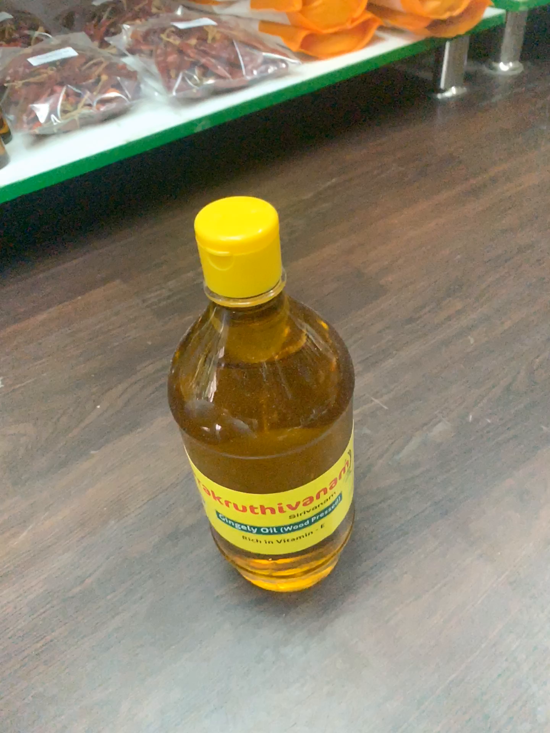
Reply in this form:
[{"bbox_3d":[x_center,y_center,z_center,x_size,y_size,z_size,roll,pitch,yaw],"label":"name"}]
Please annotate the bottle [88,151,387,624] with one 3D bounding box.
[{"bbox_3d":[-0.008,0.028,0.277,0.090,0.219,0.090,-4,45,4],"label":"bottle"}]
